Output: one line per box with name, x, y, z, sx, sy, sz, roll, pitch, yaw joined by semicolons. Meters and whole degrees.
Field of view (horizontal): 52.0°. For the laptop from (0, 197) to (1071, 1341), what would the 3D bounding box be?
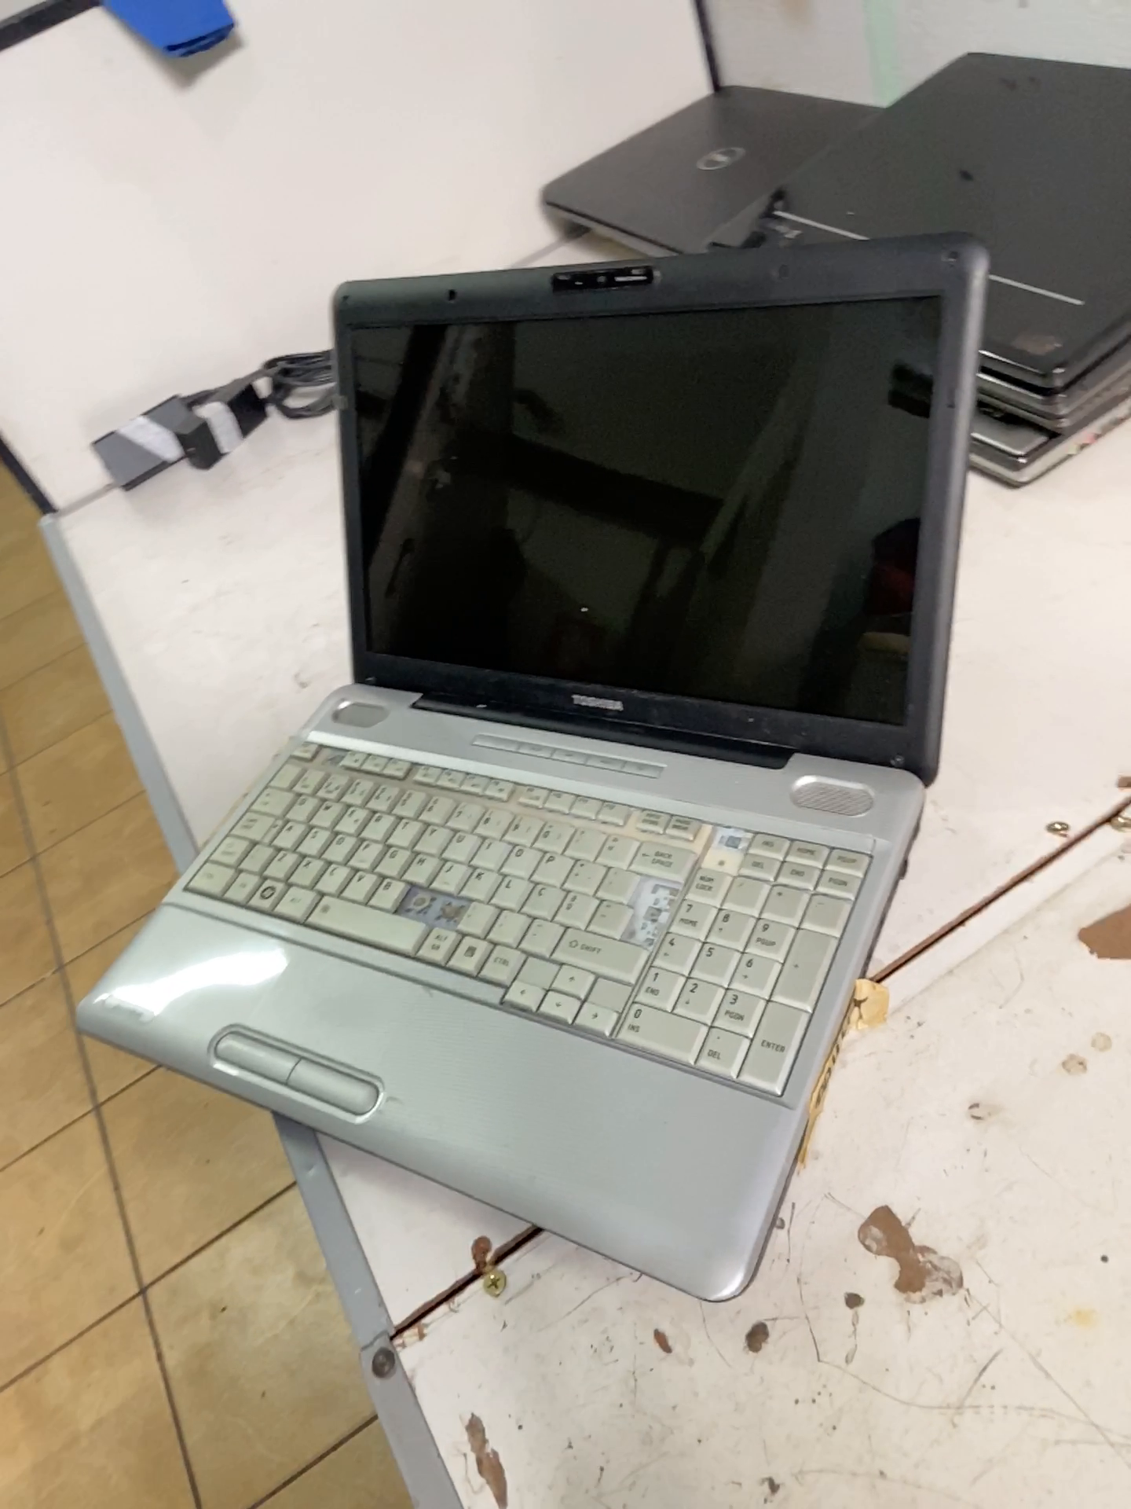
laptop;-0.015;-0.039;0.524;0.371;0.190;0.400;9;52;32
